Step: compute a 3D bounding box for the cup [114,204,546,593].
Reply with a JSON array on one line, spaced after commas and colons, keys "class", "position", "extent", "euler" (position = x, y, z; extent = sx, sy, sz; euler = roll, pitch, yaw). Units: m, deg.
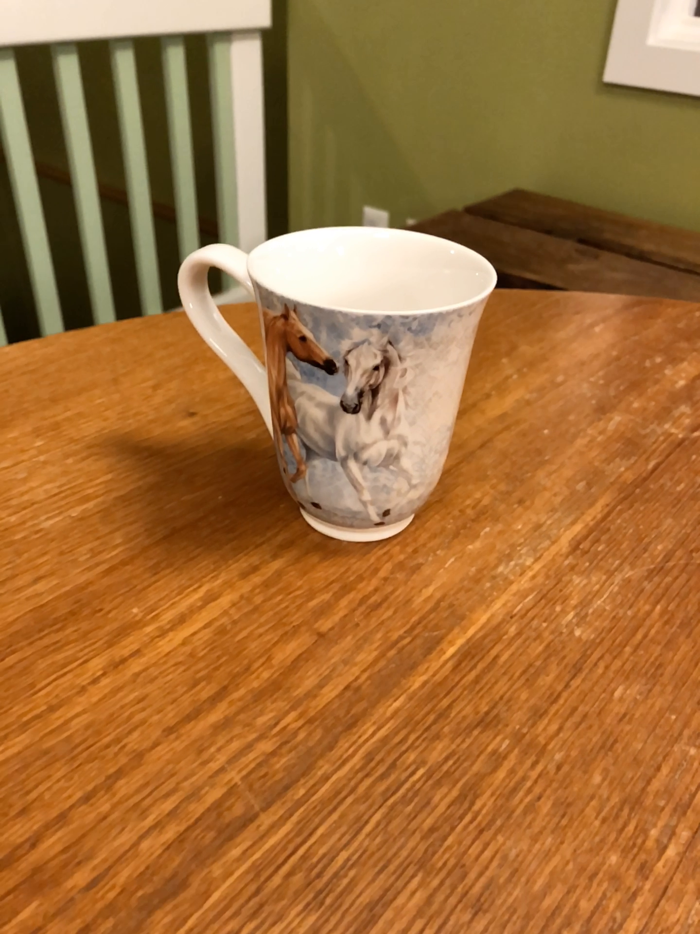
[{"class": "cup", "position": [-0.006, -0.034, 0.307], "extent": [0.133, 0.098, 0.083], "euler": [17, 36, 20]}]
